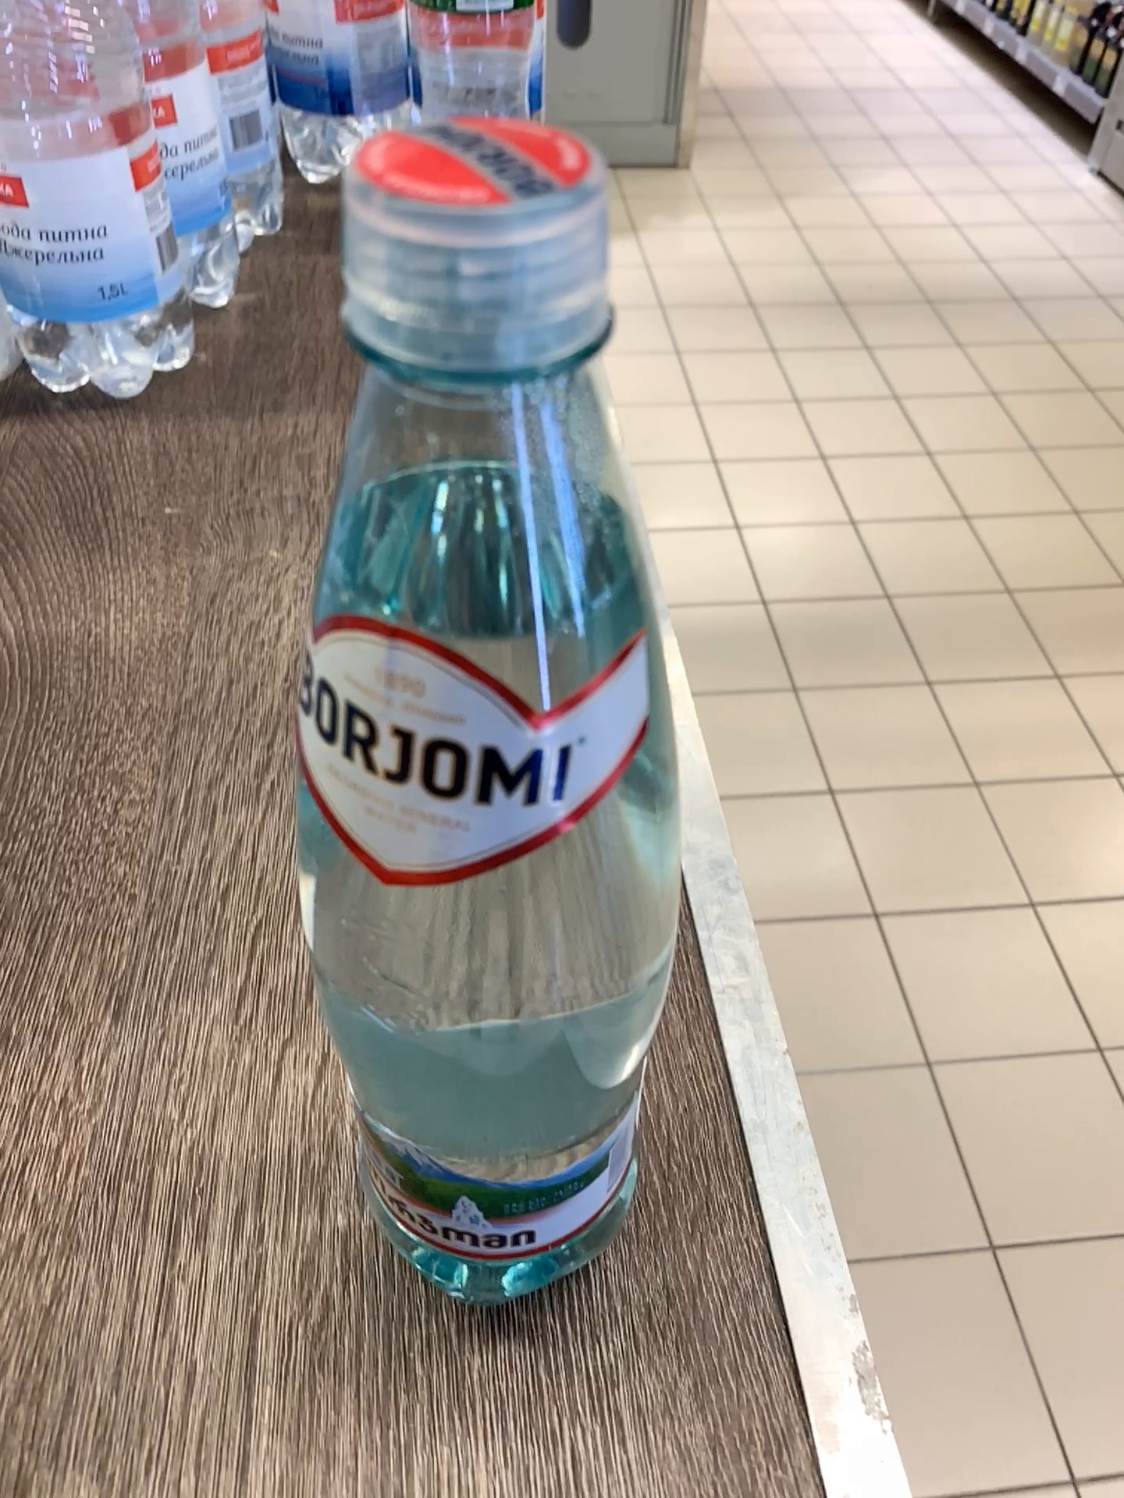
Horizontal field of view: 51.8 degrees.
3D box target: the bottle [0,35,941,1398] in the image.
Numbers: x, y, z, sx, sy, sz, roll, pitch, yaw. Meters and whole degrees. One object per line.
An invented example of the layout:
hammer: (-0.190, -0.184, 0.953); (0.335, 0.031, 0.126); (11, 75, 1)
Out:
bottle: (-0.015, 0.024, 0.207); (0.080, 0.239, 0.070); (27, 51, 21)
